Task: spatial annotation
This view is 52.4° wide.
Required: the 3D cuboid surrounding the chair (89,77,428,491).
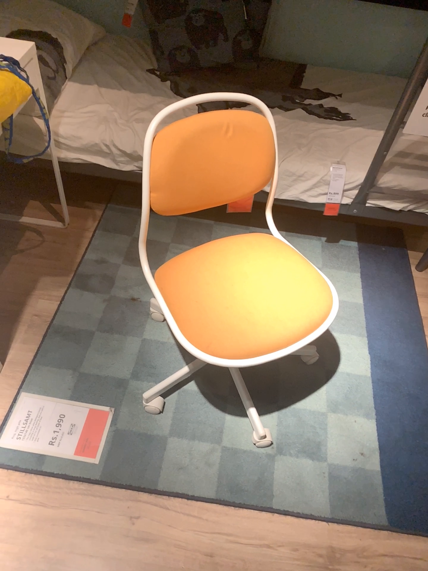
[{"bbox_3d":[0.100,-0.009,1.130,0.611,0.708,0.652,-15,54,-19],"label":"chair"}]
